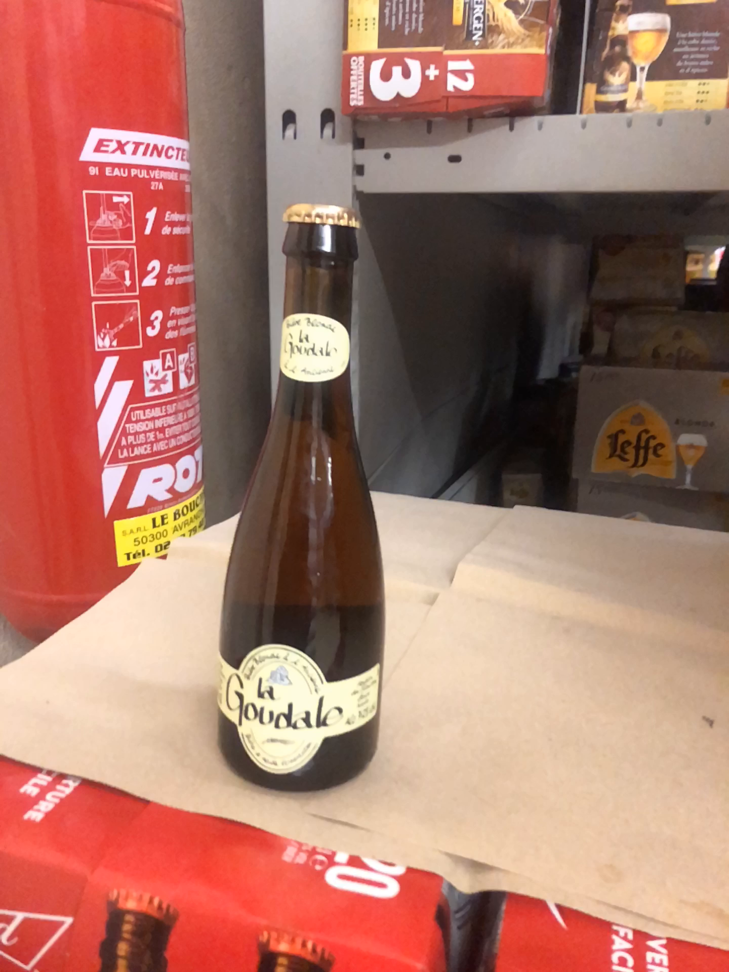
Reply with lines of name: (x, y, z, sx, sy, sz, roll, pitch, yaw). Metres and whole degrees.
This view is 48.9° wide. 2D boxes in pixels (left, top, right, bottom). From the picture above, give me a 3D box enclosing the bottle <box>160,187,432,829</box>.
bottle: (-0.023, 0.008, 0.303, 0.080, 0.219, 0.070, 4, 15, 6)
